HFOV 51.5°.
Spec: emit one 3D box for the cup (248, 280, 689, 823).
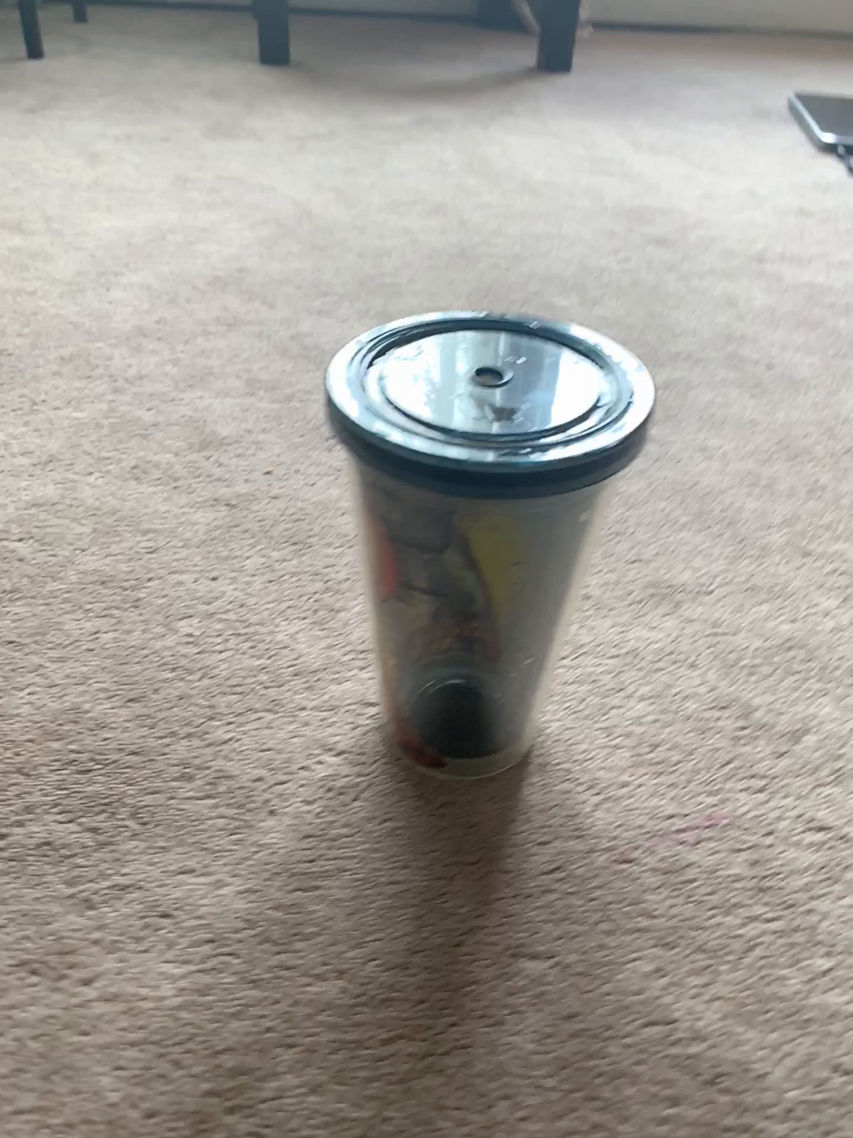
[{"bbox_3d":[0.003,-0.009,0.304,0.100,0.139,0.101,3,38,-2],"label":"cup"}]
